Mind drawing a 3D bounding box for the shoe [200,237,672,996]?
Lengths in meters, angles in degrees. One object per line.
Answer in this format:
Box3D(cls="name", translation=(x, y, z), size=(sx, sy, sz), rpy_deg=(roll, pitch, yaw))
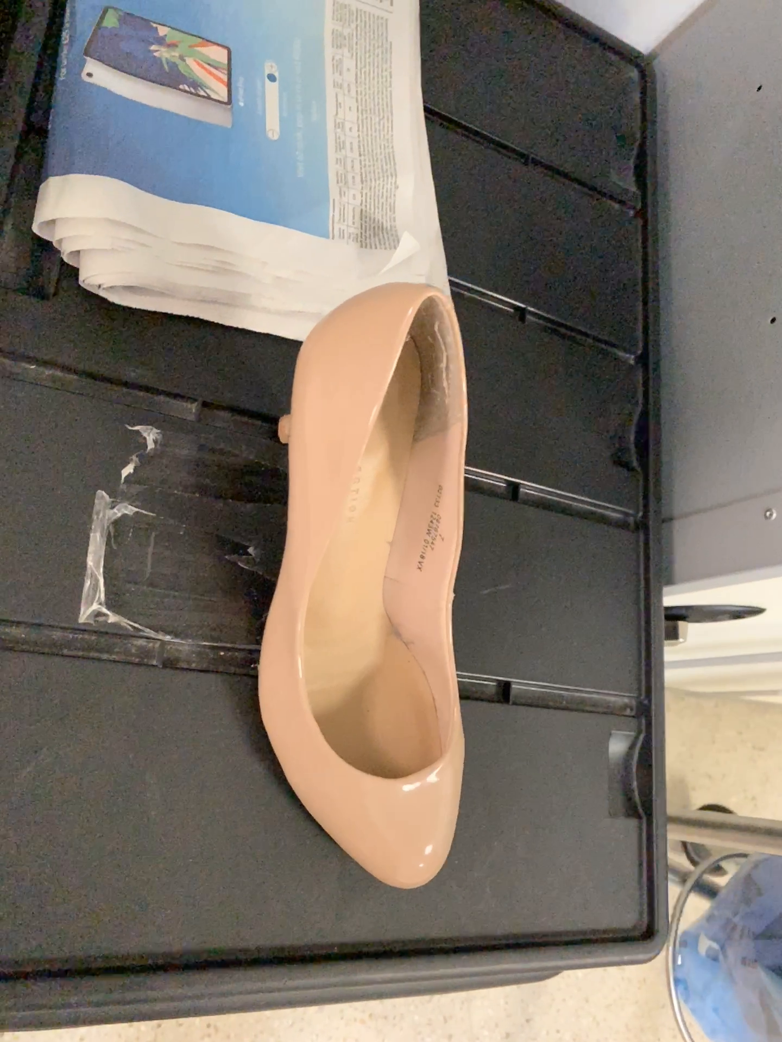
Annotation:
Box3D(cls="shoe", translation=(0.003, 0.032, 0.335), size=(0.097, 0.141, 0.240), rpy_deg=(-5, 80, -30))
